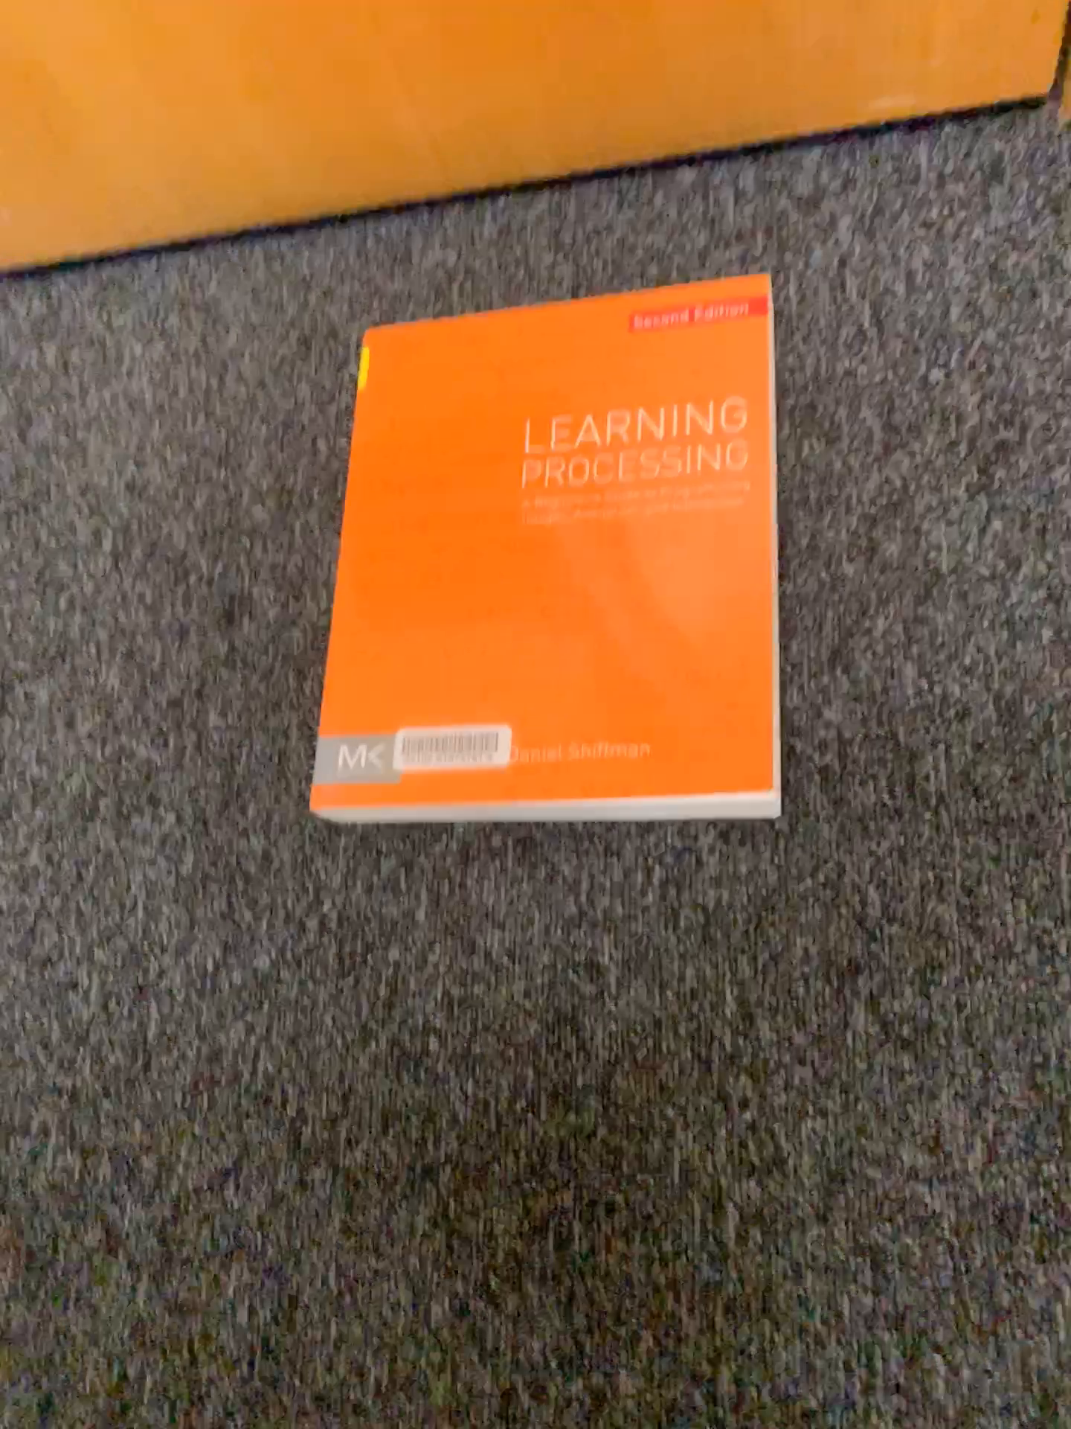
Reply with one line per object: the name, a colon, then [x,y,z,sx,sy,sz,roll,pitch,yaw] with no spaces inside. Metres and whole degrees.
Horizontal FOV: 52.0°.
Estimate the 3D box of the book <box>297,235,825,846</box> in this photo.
book: [0.014,-0.075,0.484,0.210,0.040,0.261,-2,71,15]
